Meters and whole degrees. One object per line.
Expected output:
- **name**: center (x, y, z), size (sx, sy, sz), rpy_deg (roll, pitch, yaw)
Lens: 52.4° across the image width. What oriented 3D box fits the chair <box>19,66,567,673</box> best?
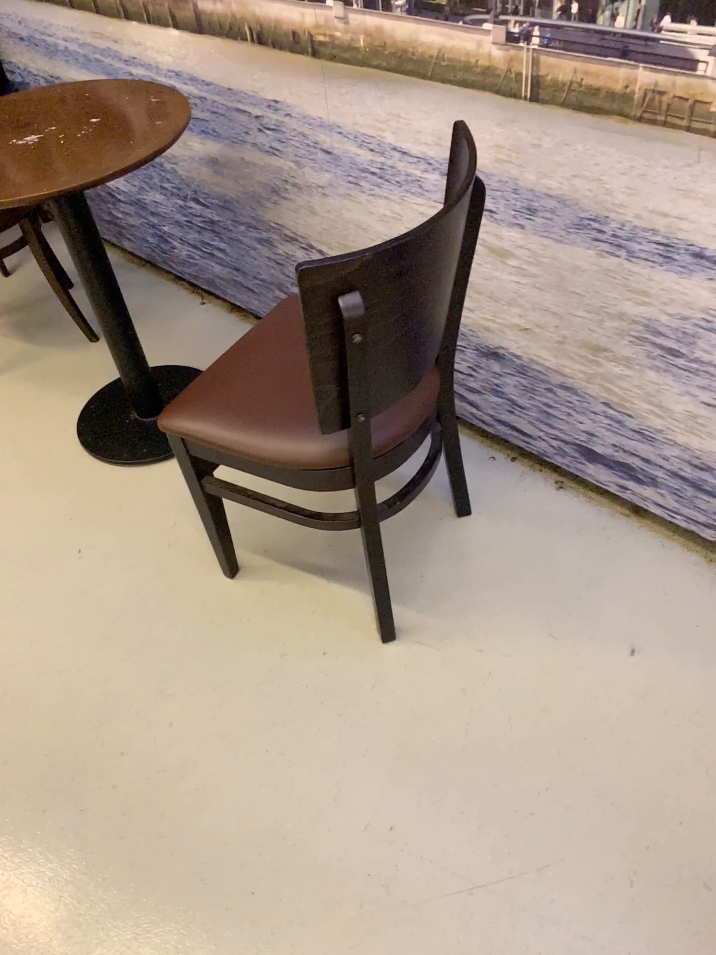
- **chair**: center (-0.034, -0.192, 1.239), size (0.518, 0.729, 0.561), rpy_deg (22, 52, 27)
